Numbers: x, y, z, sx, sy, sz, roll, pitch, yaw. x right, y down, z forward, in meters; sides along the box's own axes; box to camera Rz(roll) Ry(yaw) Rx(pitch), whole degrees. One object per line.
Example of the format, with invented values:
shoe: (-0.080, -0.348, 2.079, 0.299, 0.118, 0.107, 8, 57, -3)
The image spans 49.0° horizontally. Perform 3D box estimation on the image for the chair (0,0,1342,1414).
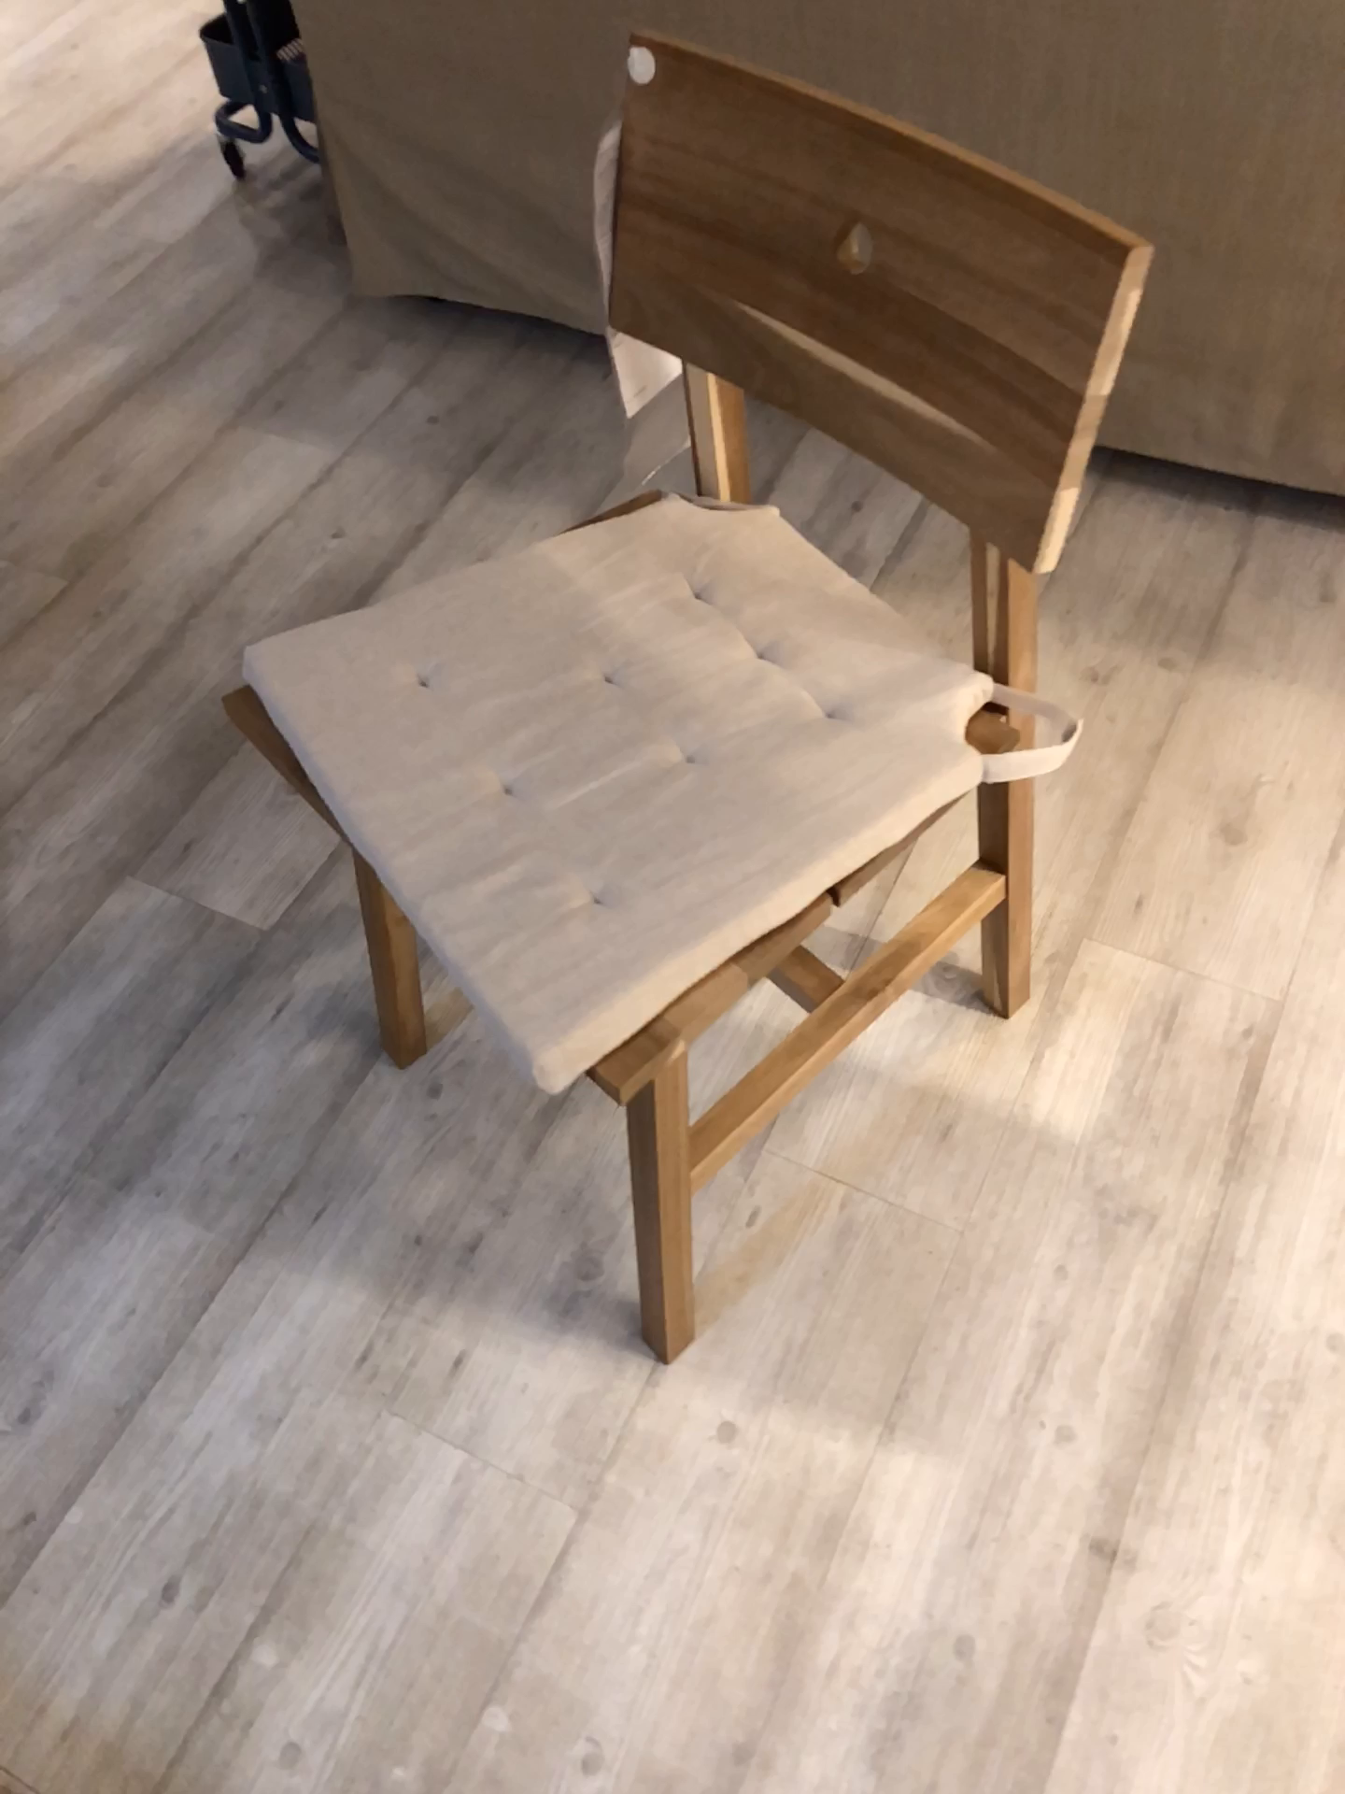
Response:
chair: (-0.017, -0.119, 0.978, 0.530, 0.598, 0.501, -38, 59, -20)
